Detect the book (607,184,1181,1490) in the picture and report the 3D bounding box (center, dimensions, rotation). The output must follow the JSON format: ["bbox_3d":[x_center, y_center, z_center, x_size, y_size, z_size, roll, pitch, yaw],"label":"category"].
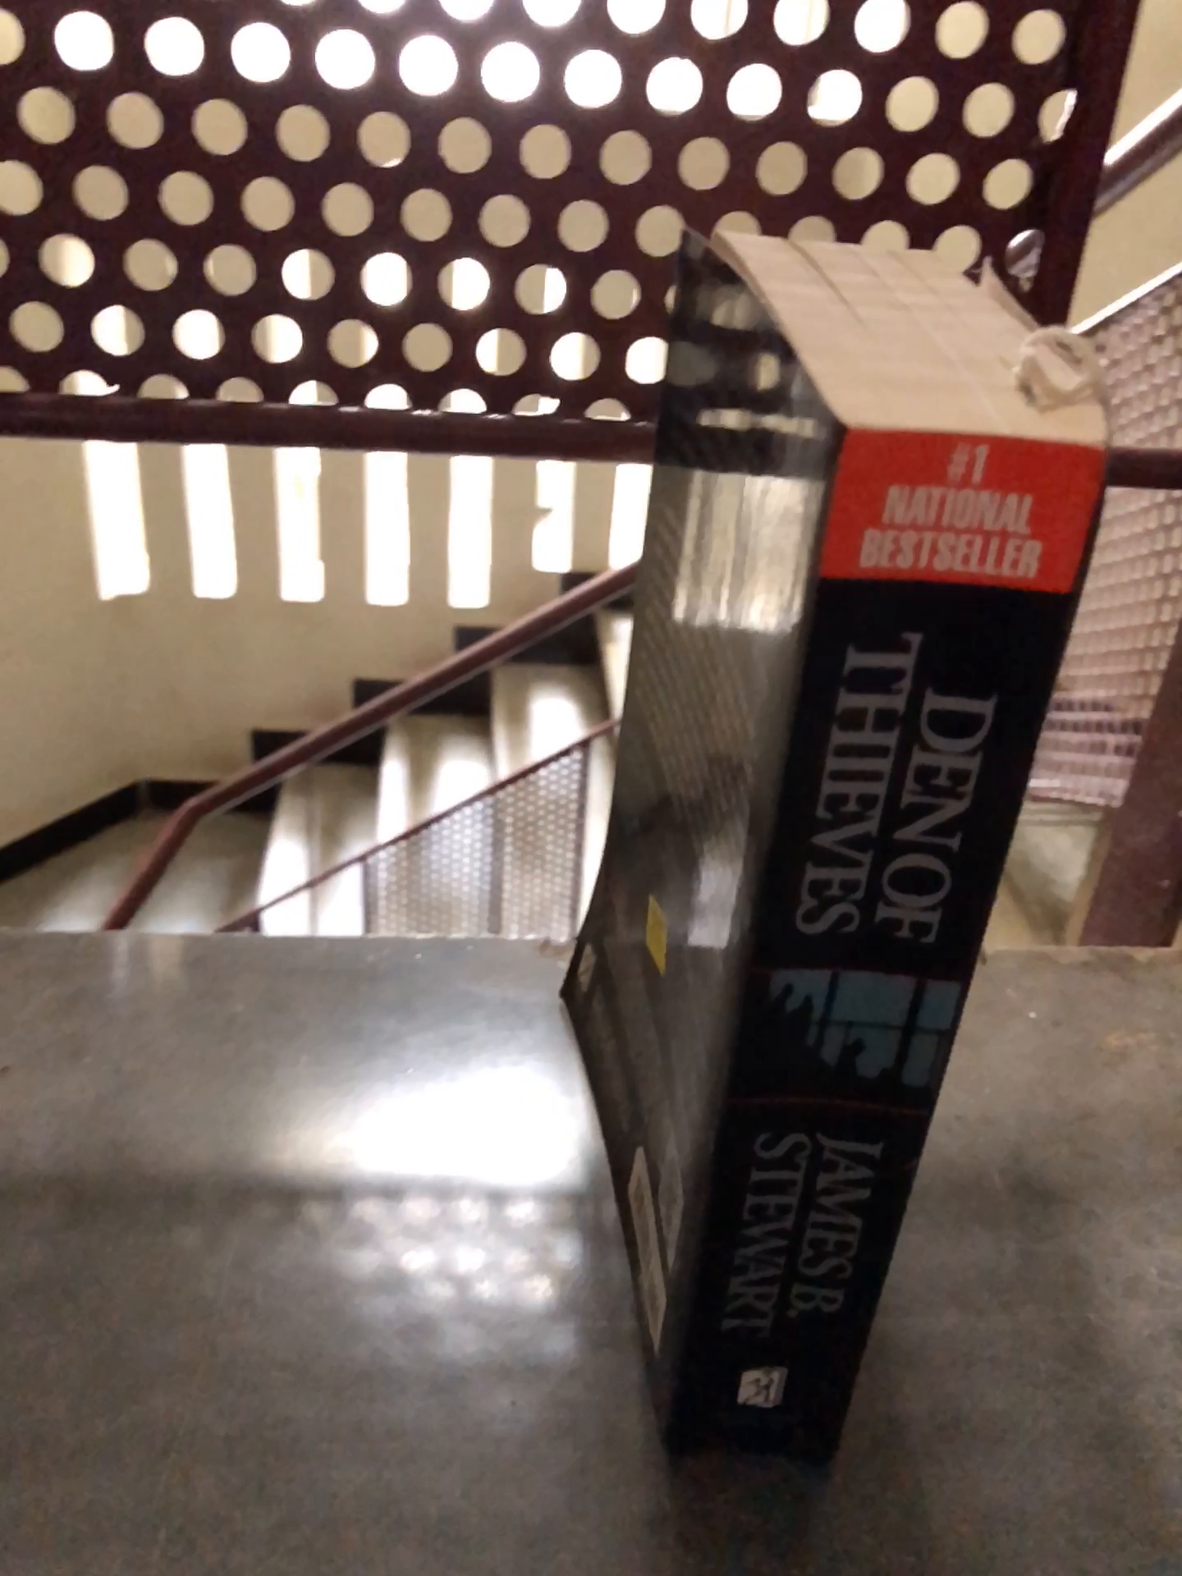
[{"bbox_3d":[0.038,0.003,0.283,0.050,0.219,0.171,3,31,-3],"label":"book"}]
